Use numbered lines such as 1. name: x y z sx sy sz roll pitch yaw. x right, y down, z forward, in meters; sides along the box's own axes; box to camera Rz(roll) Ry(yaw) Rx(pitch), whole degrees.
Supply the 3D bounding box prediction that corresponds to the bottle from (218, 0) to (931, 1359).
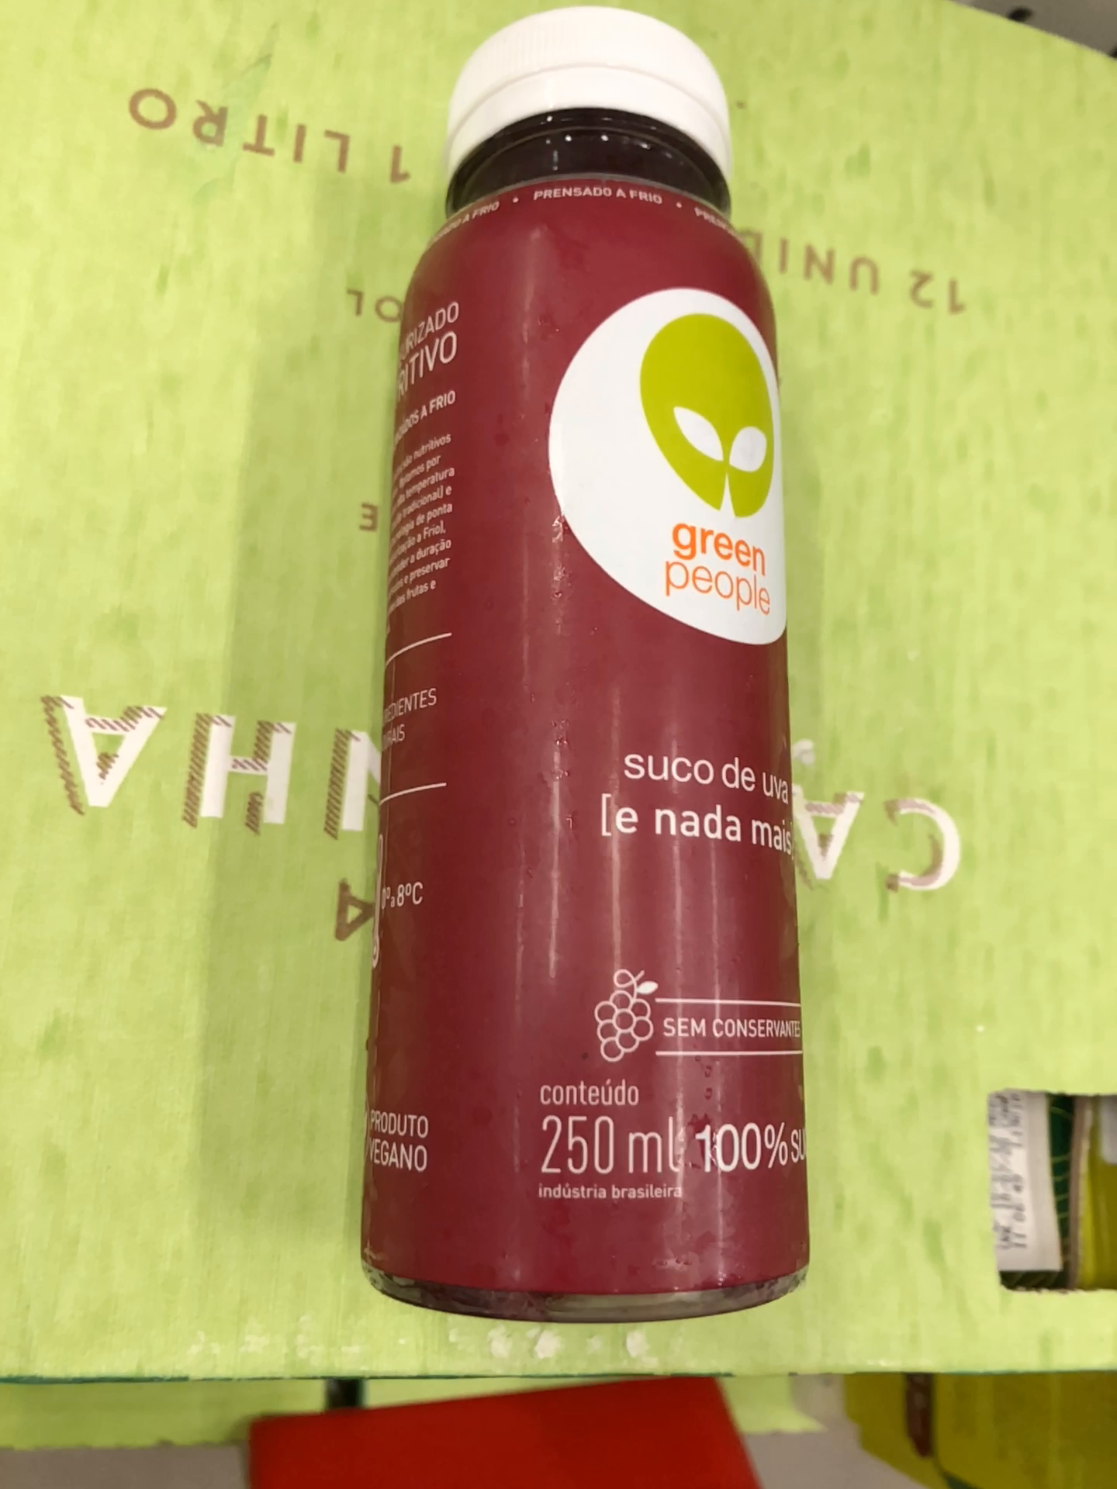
1. bottle: 0.003 -0.022 0.167 0.060 0.060 0.170 11 75 -38
